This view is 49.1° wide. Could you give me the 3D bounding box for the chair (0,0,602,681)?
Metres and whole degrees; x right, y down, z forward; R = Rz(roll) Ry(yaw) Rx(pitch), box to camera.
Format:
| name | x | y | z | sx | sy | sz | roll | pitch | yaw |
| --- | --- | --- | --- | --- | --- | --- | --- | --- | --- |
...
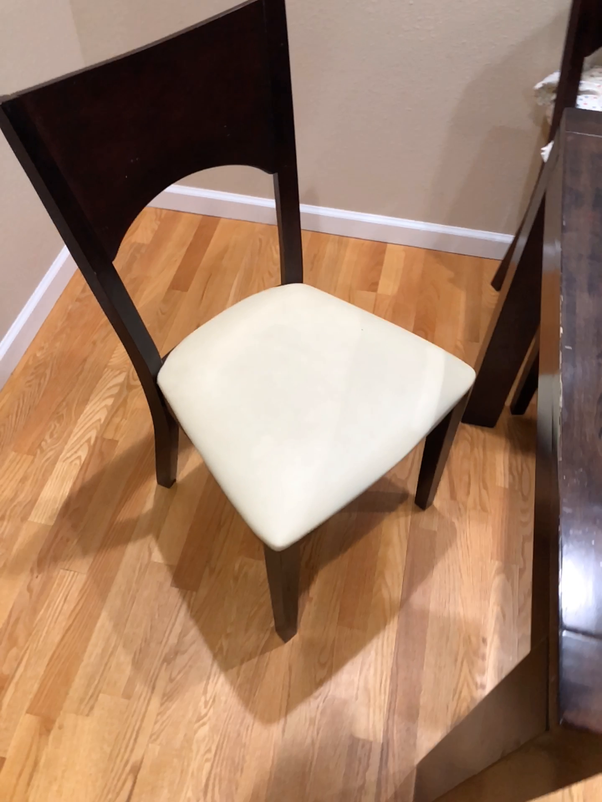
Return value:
| name | x | y | z | sx | sy | sz | roll | pitch | yaw |
| --- | --- | --- | --- | --- | --- | --- | --- | --- | --- |
| chair | -0.046 | -0.059 | 1.061 | 0.521 | 0.906 | 0.531 | -35 | 61 | -24 |
